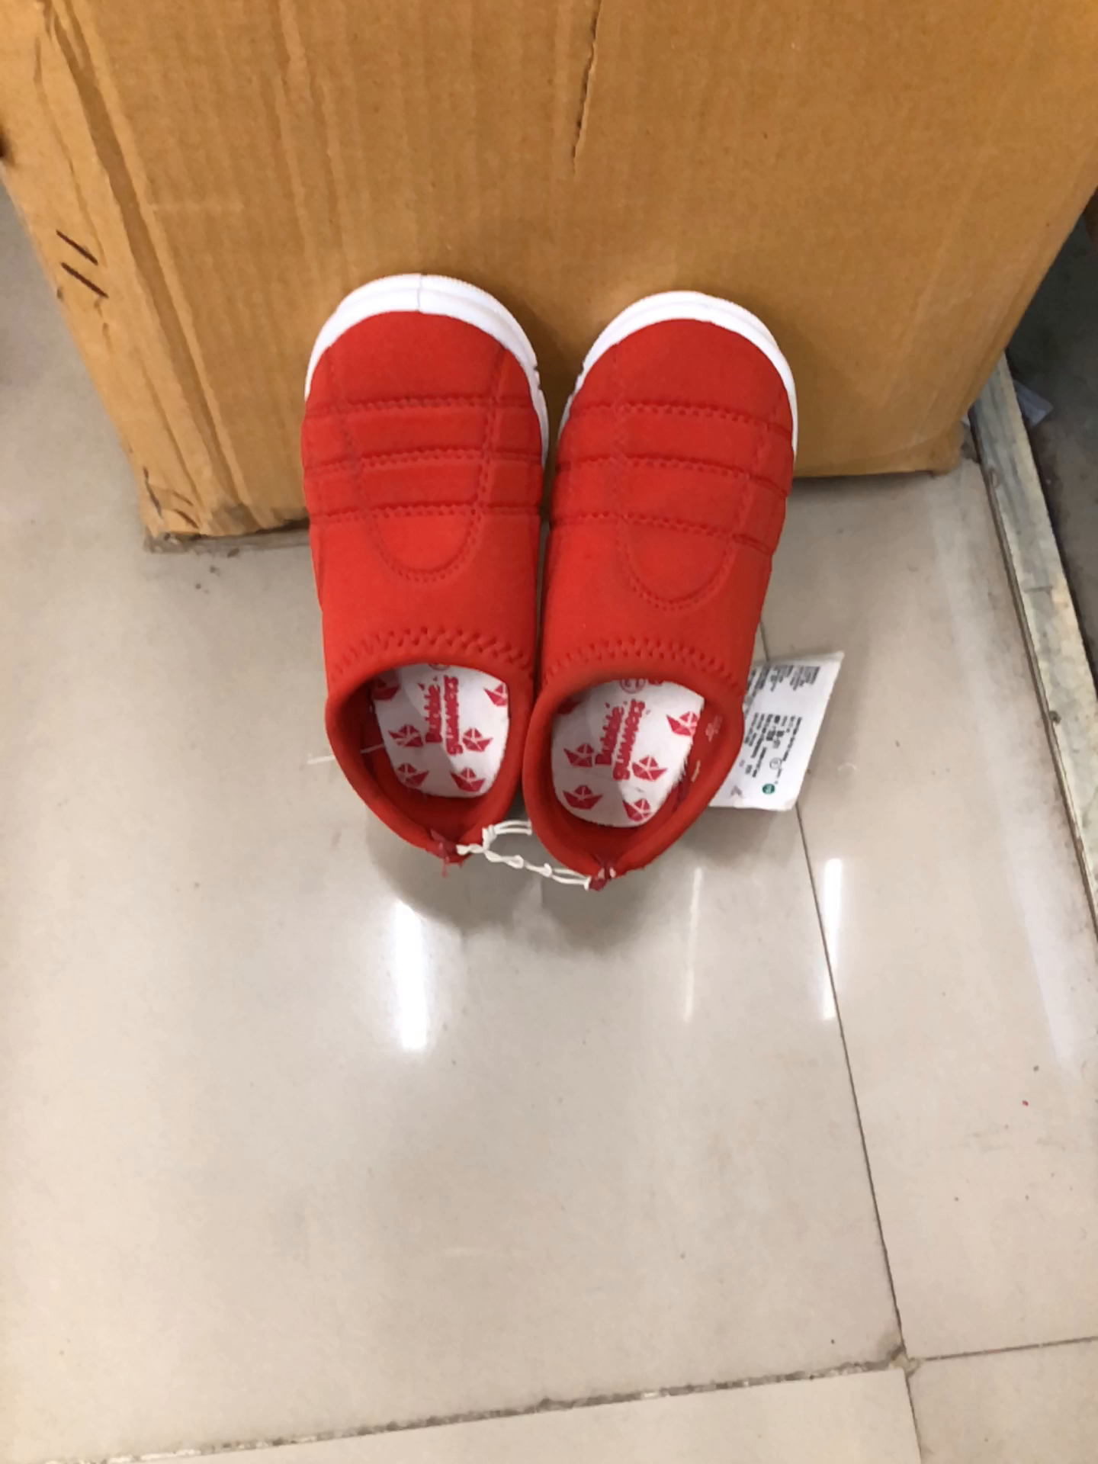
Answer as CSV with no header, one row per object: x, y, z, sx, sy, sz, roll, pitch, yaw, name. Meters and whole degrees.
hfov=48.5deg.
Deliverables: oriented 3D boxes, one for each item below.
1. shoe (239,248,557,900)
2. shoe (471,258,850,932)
-0.042,-0.050,0.418,0.084,0.204,0.082,-2,30,-1,shoe
0.035,-0.046,0.428,0.084,0.207,0.081,12,27,5,shoe
